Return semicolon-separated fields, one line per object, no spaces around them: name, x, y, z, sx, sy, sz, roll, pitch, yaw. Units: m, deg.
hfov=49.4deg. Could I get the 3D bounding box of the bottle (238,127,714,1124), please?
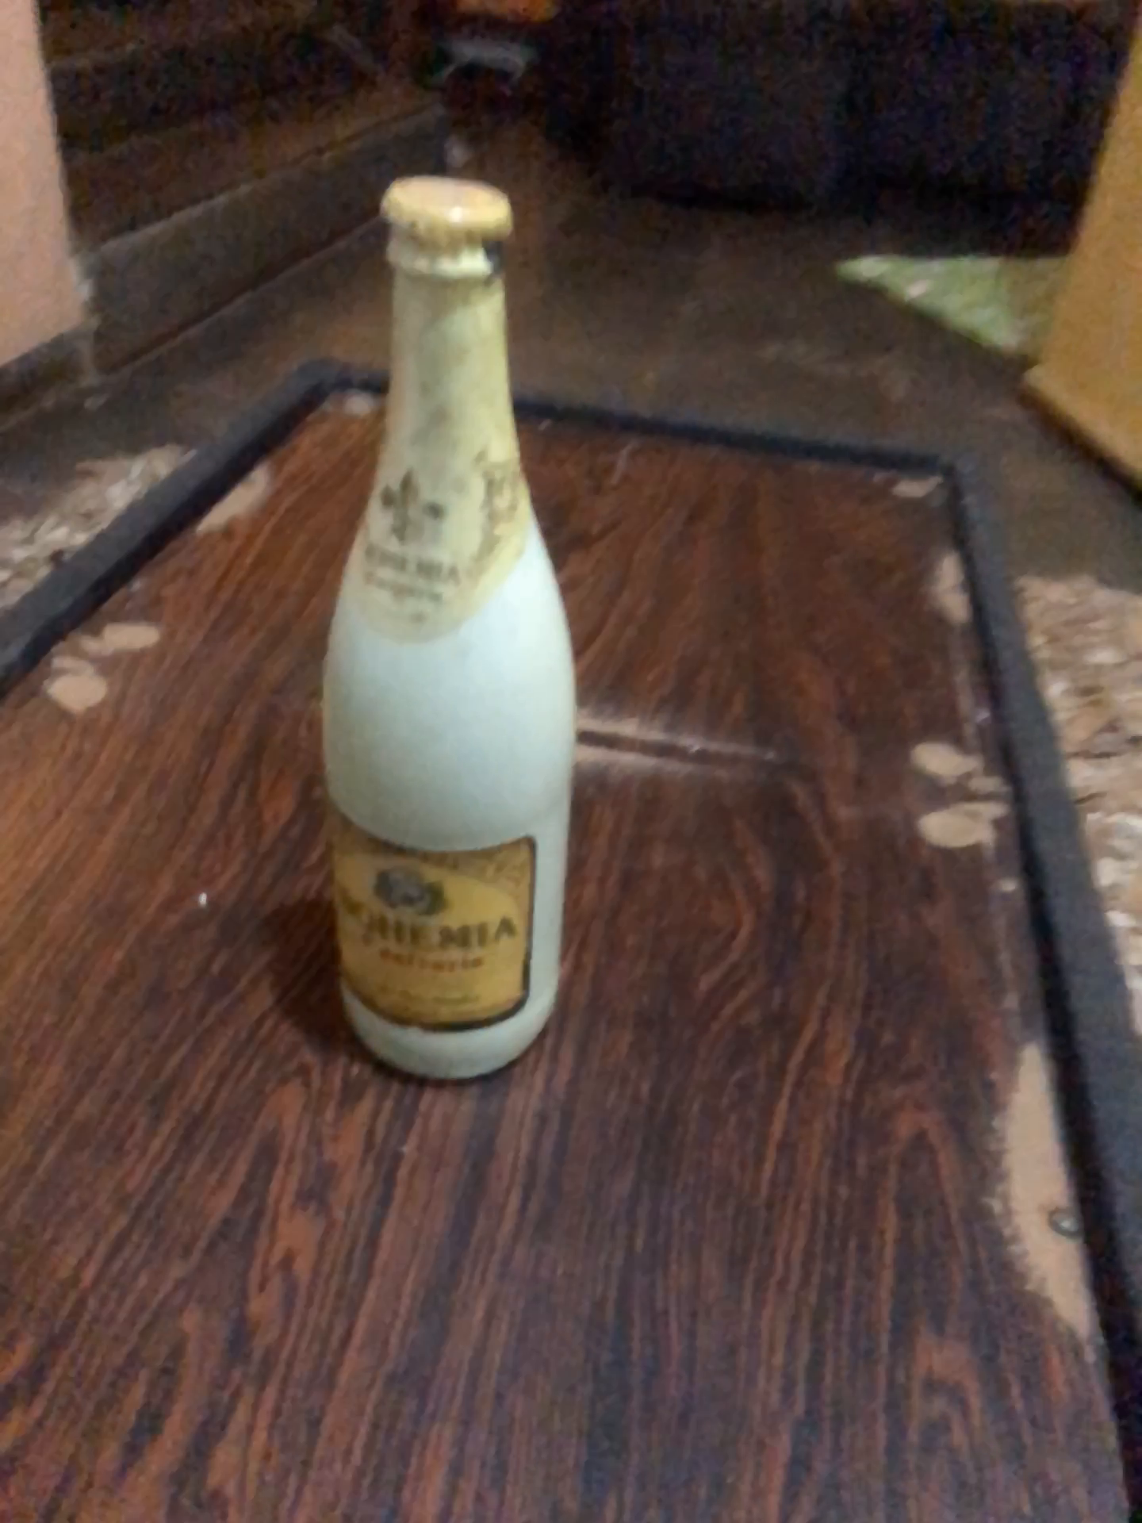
bottle;-0.024;-0.025;0.337;0.080;0.248;0.081;3;34;-2
